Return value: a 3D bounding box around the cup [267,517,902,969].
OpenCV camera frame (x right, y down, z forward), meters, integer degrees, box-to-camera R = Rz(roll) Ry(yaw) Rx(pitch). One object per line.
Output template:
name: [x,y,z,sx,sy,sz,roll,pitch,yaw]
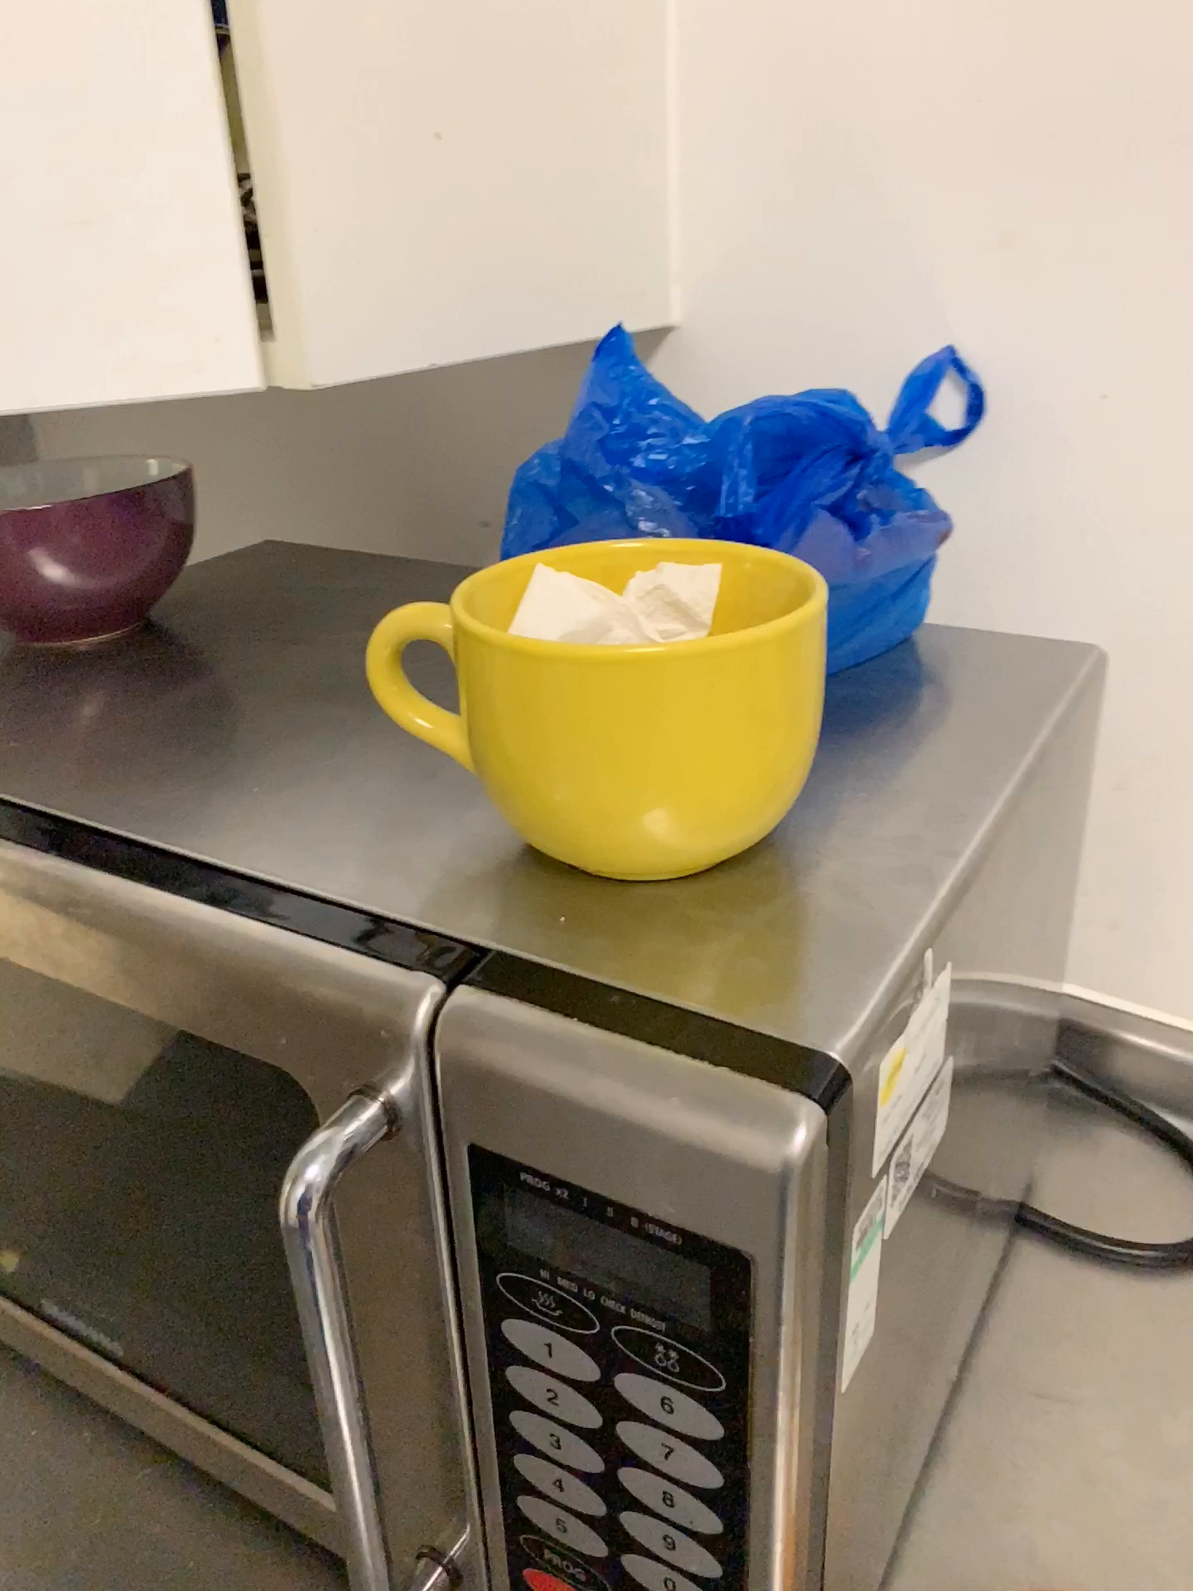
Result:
cup: [0.001,-0.028,0.386,0.154,0.082,0.116,12,28,28]
